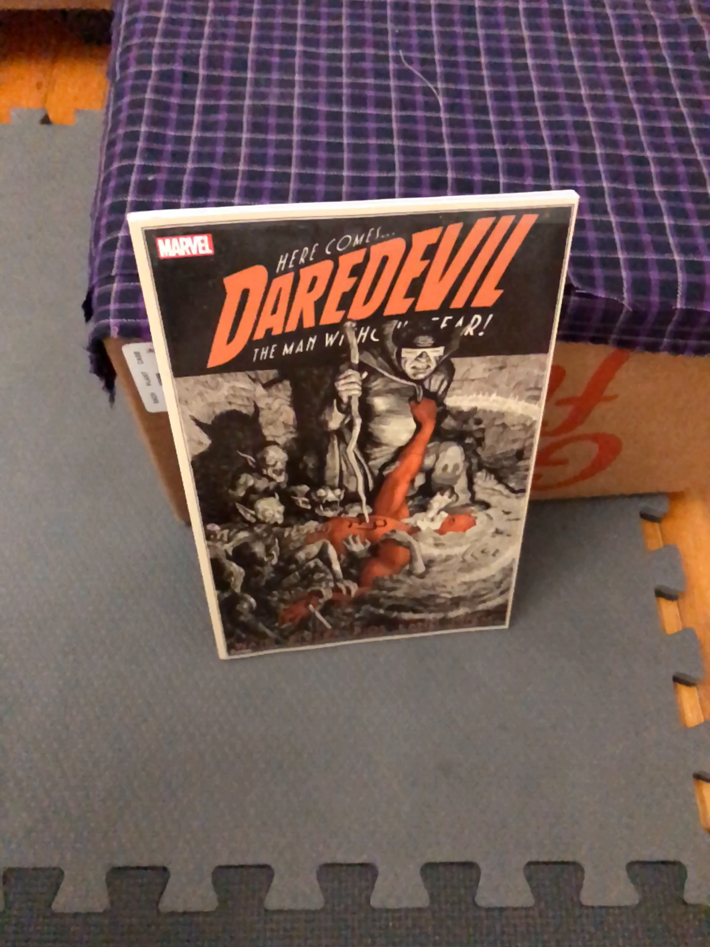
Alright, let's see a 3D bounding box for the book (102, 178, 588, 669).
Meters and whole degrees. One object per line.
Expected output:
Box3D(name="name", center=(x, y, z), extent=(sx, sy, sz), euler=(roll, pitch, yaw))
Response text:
Box3D(name="book", center=(0.000, -0.003, 0.339), extent=(0.160, 0.229, 0.020), euler=(-6, 40, -5))
